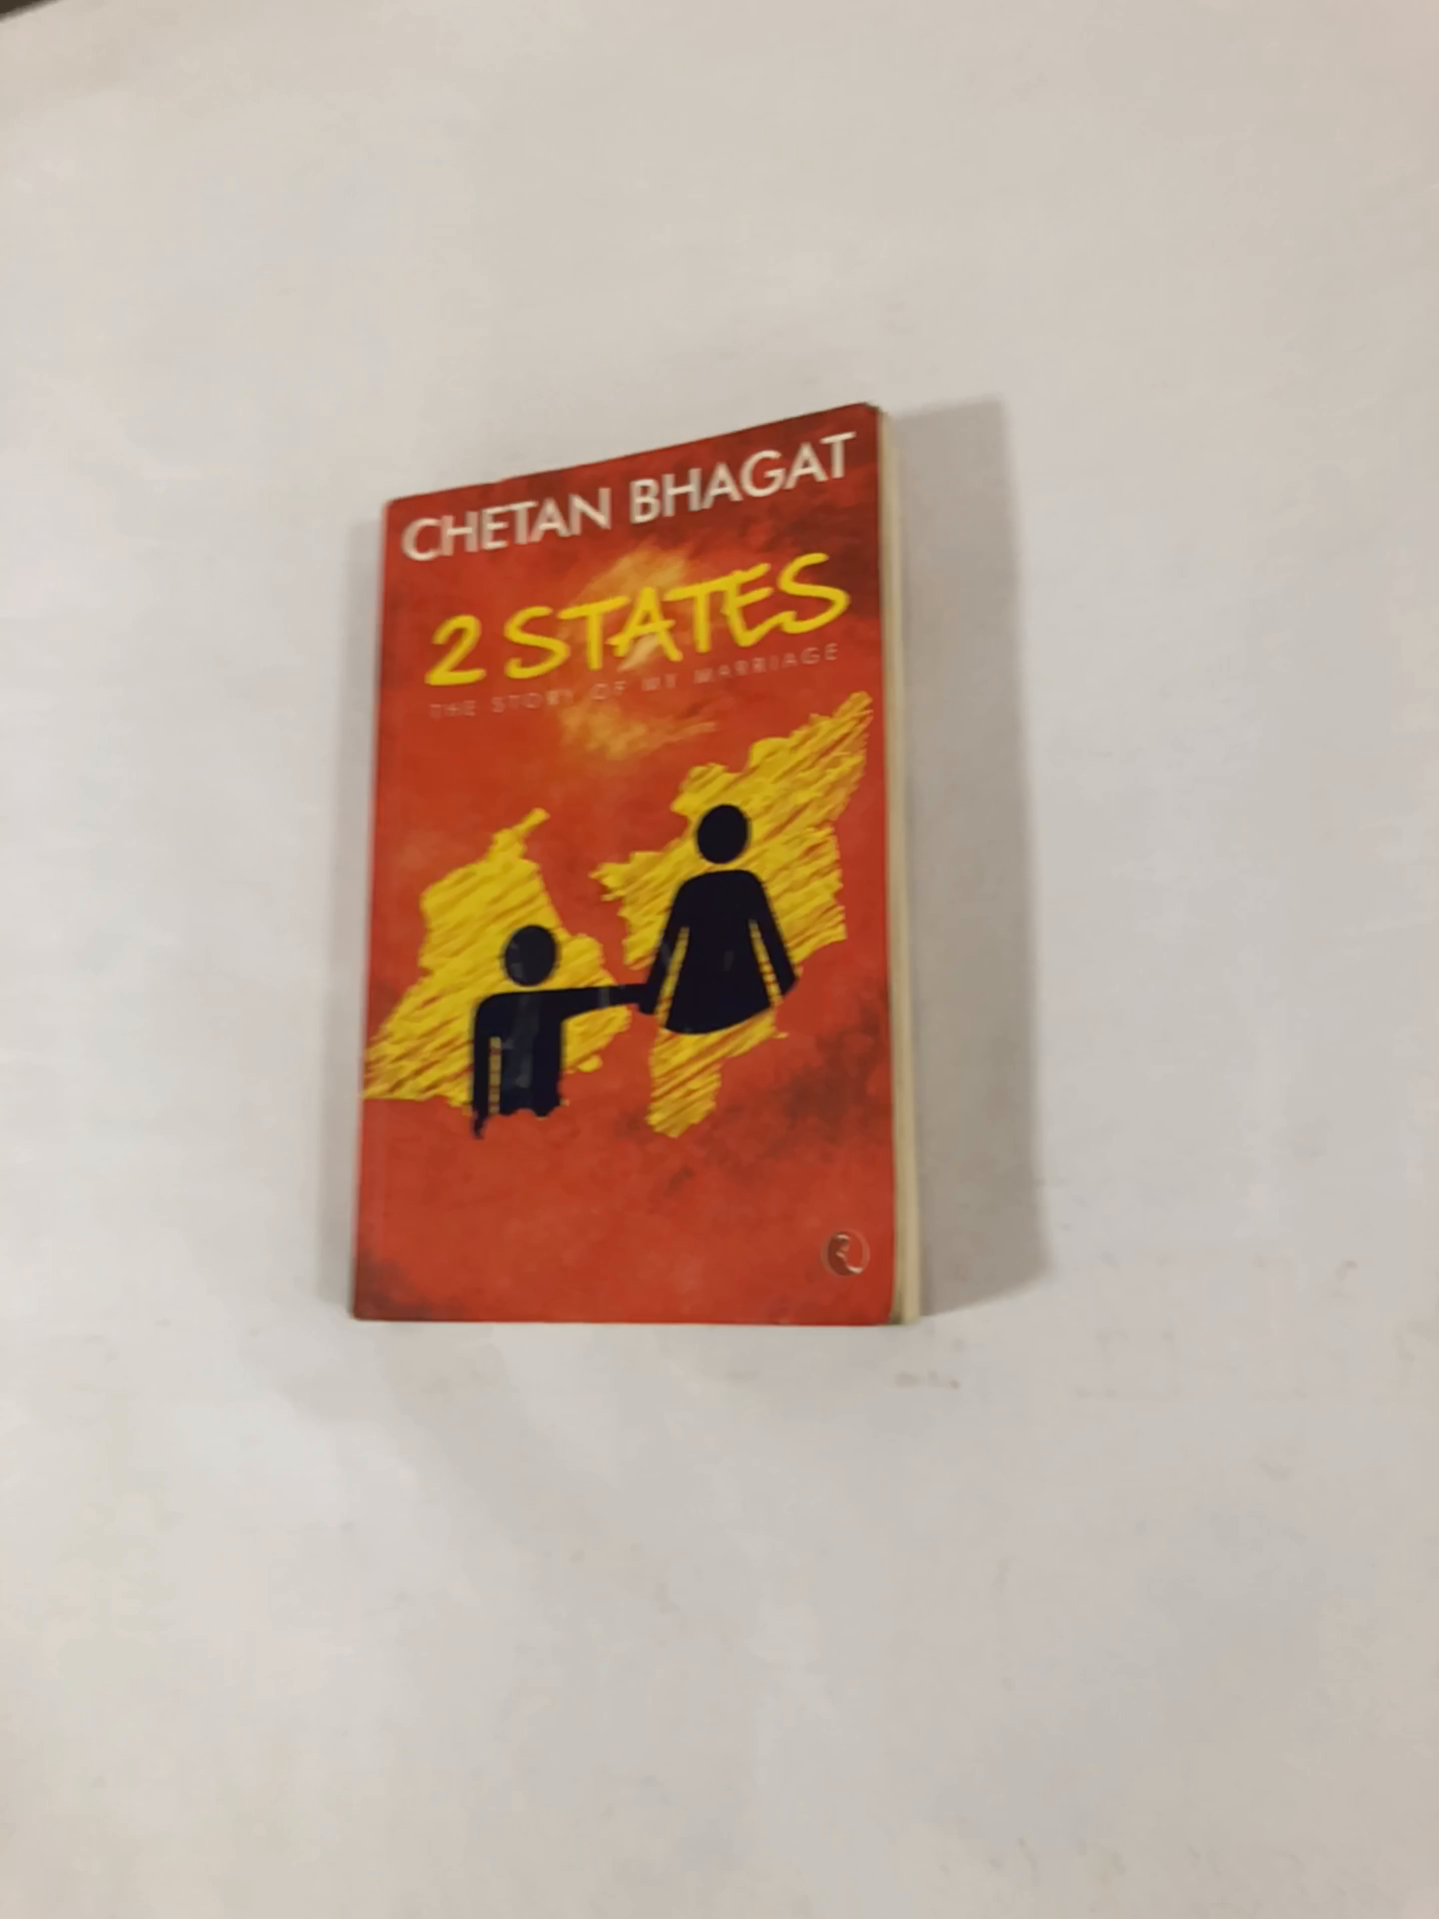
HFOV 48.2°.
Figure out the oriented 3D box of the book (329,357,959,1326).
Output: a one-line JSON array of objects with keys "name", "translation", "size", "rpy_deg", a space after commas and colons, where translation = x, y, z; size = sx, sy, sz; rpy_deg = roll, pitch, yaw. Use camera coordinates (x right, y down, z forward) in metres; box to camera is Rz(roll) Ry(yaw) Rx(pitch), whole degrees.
[{"name": "book", "translation": [-0.016, -0.020, 0.345], "size": [0.123, 0.040, 0.190], "rpy_deg": [-4, 79, 20]}]
